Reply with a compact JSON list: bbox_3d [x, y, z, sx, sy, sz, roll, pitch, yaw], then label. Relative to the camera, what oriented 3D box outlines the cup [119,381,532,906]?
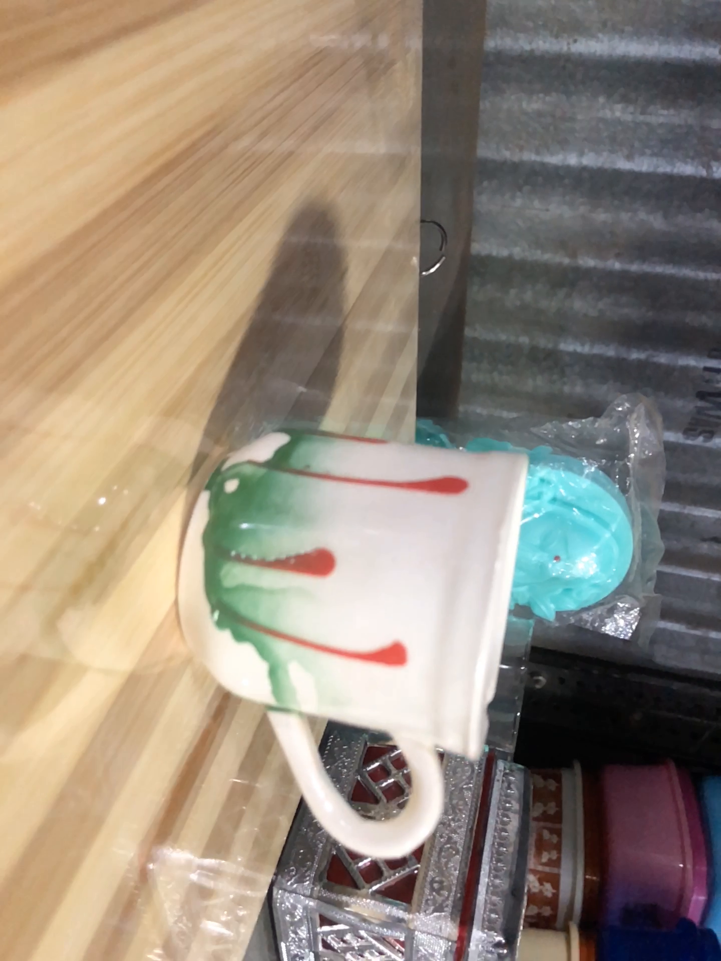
[{"bbox_3d":[-0.001,0.029,0.193,0.080,0.070,0.090,-7,105,-78],"label":"cup"}]
